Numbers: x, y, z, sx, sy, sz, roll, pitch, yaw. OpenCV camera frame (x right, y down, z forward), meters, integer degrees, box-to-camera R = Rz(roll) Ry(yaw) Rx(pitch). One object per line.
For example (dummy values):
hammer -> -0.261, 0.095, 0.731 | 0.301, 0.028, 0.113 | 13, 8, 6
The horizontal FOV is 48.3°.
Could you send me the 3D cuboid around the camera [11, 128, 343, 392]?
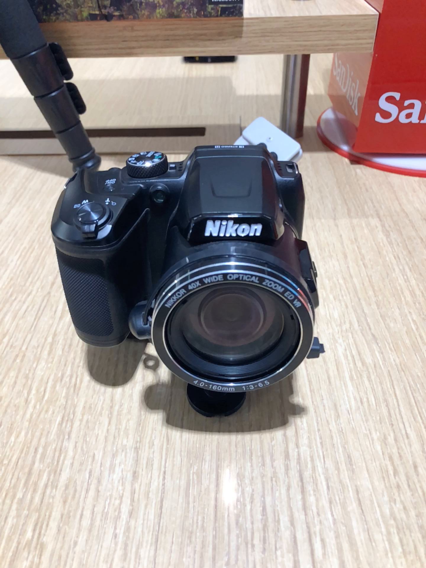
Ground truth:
camera -> -0.011, -0.014, 0.205 | 0.103, 0.070, 0.093 | -1, 39, 0
